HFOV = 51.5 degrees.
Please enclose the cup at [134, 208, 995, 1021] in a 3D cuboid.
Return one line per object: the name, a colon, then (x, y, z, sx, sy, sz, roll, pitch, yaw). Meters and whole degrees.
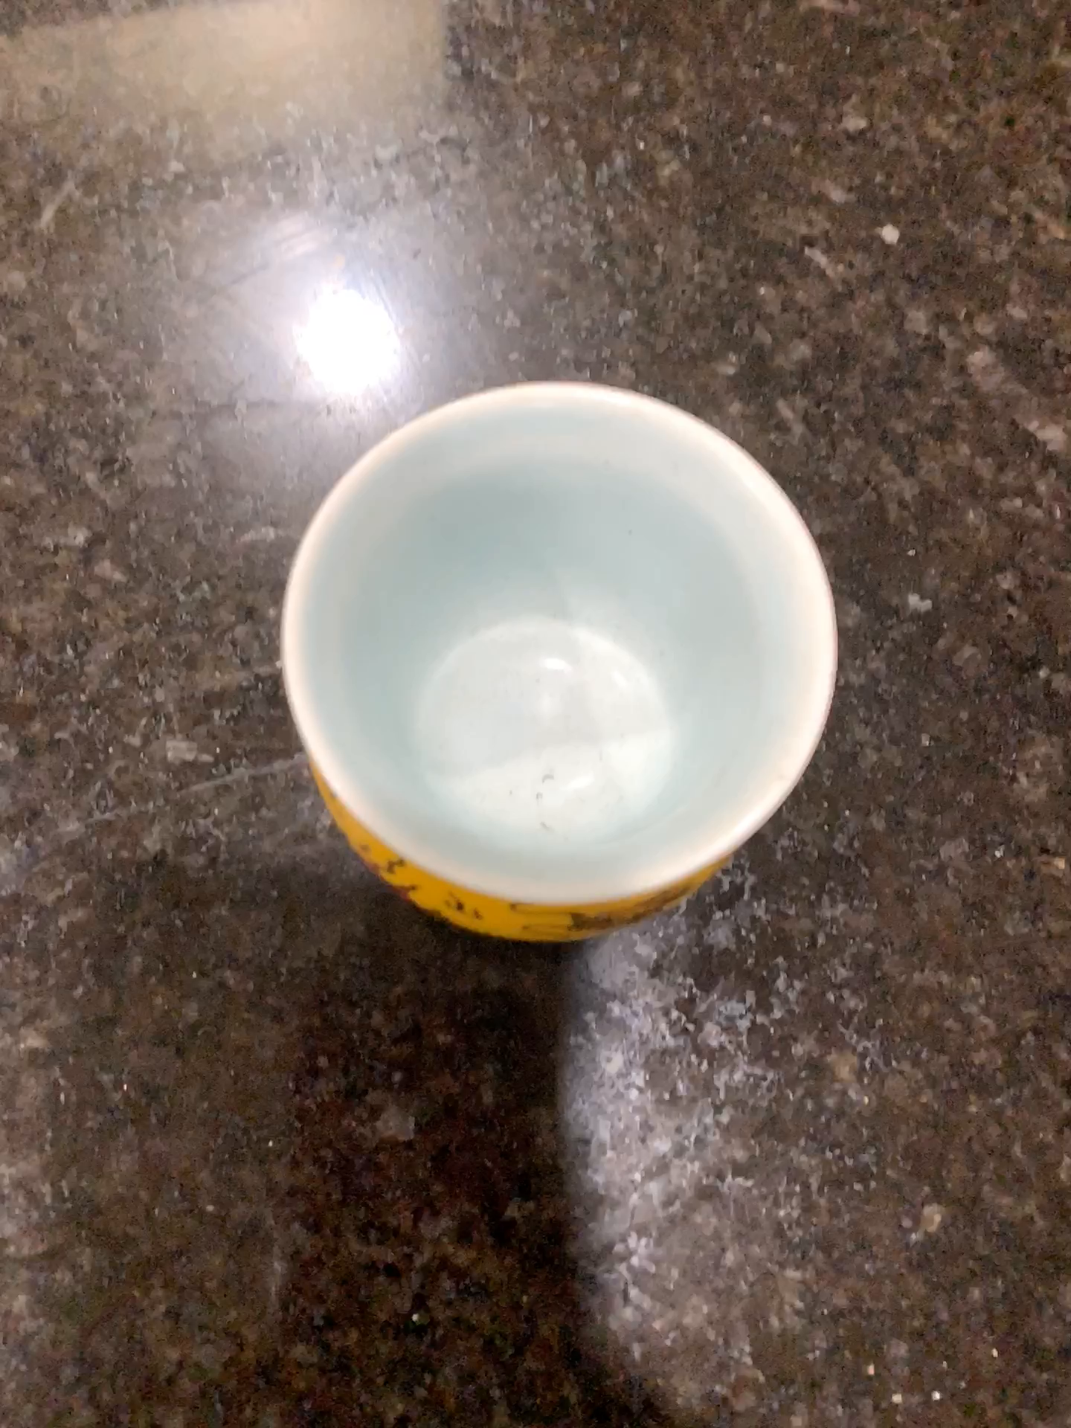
cup: (0.003, -0.009, 0.166, 0.075, 0.066, 0.072, 1, 73, -2)
